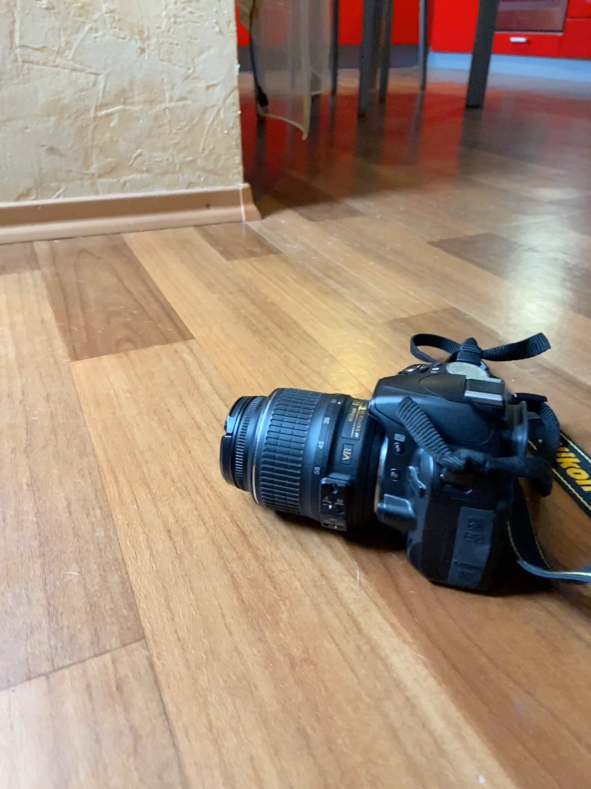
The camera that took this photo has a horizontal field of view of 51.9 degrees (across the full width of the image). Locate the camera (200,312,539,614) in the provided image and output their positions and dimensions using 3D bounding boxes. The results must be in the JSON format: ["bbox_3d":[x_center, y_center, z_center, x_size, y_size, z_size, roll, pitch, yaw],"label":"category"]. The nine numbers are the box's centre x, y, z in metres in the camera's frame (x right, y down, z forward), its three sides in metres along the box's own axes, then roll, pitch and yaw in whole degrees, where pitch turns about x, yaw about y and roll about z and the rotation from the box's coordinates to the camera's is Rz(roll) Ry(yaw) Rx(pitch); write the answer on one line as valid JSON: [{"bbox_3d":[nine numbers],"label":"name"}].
[{"bbox_3d":[0.043,0.029,0.349,0.153,0.100,0.121,7,31,12],"label":"camera"}]
